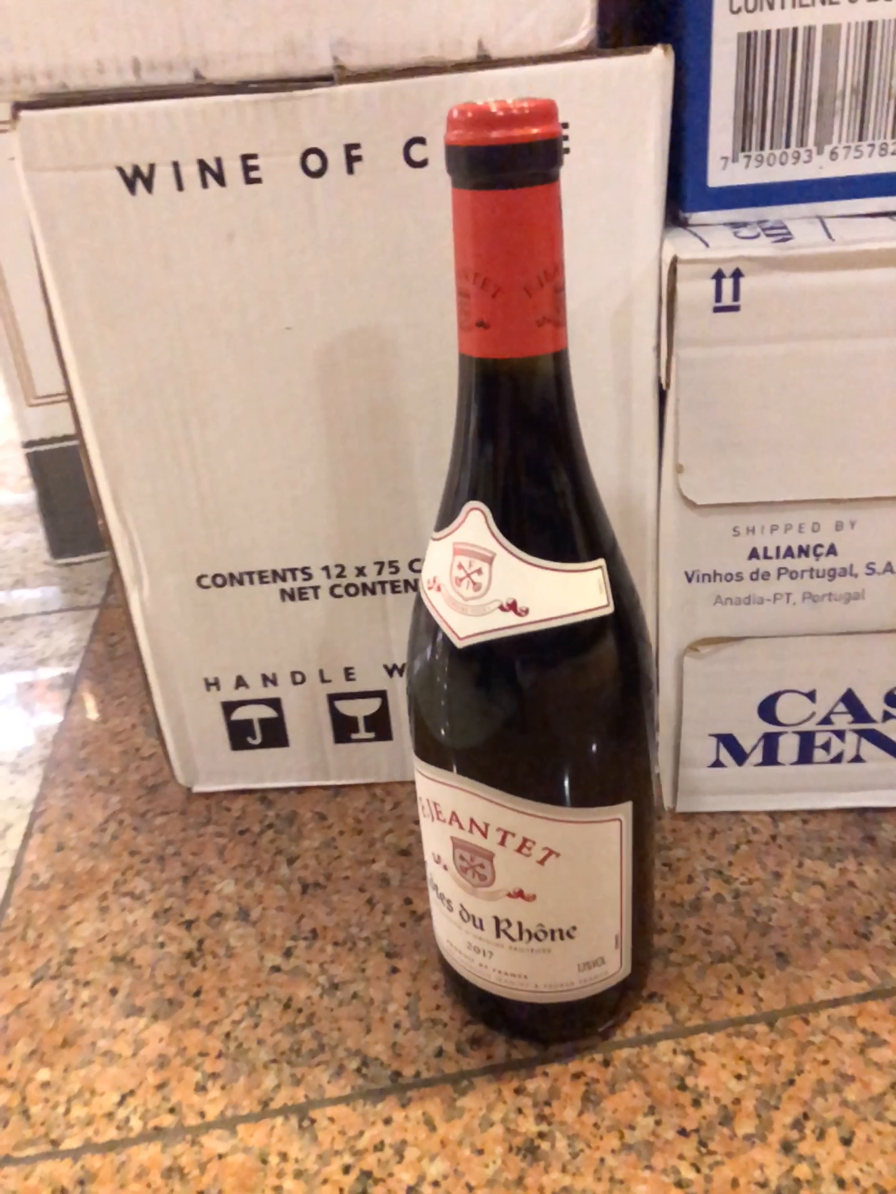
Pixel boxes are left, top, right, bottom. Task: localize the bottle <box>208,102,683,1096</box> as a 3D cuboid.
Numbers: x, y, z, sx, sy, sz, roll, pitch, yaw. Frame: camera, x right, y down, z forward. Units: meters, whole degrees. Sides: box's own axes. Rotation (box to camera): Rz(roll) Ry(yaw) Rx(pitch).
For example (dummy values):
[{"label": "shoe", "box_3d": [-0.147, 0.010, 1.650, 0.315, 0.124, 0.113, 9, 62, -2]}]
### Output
[{"label": "bottle", "box_3d": [0.013, 0.011, 0.311, 0.090, 0.288, 0.080, 11, 31, 29]}]
